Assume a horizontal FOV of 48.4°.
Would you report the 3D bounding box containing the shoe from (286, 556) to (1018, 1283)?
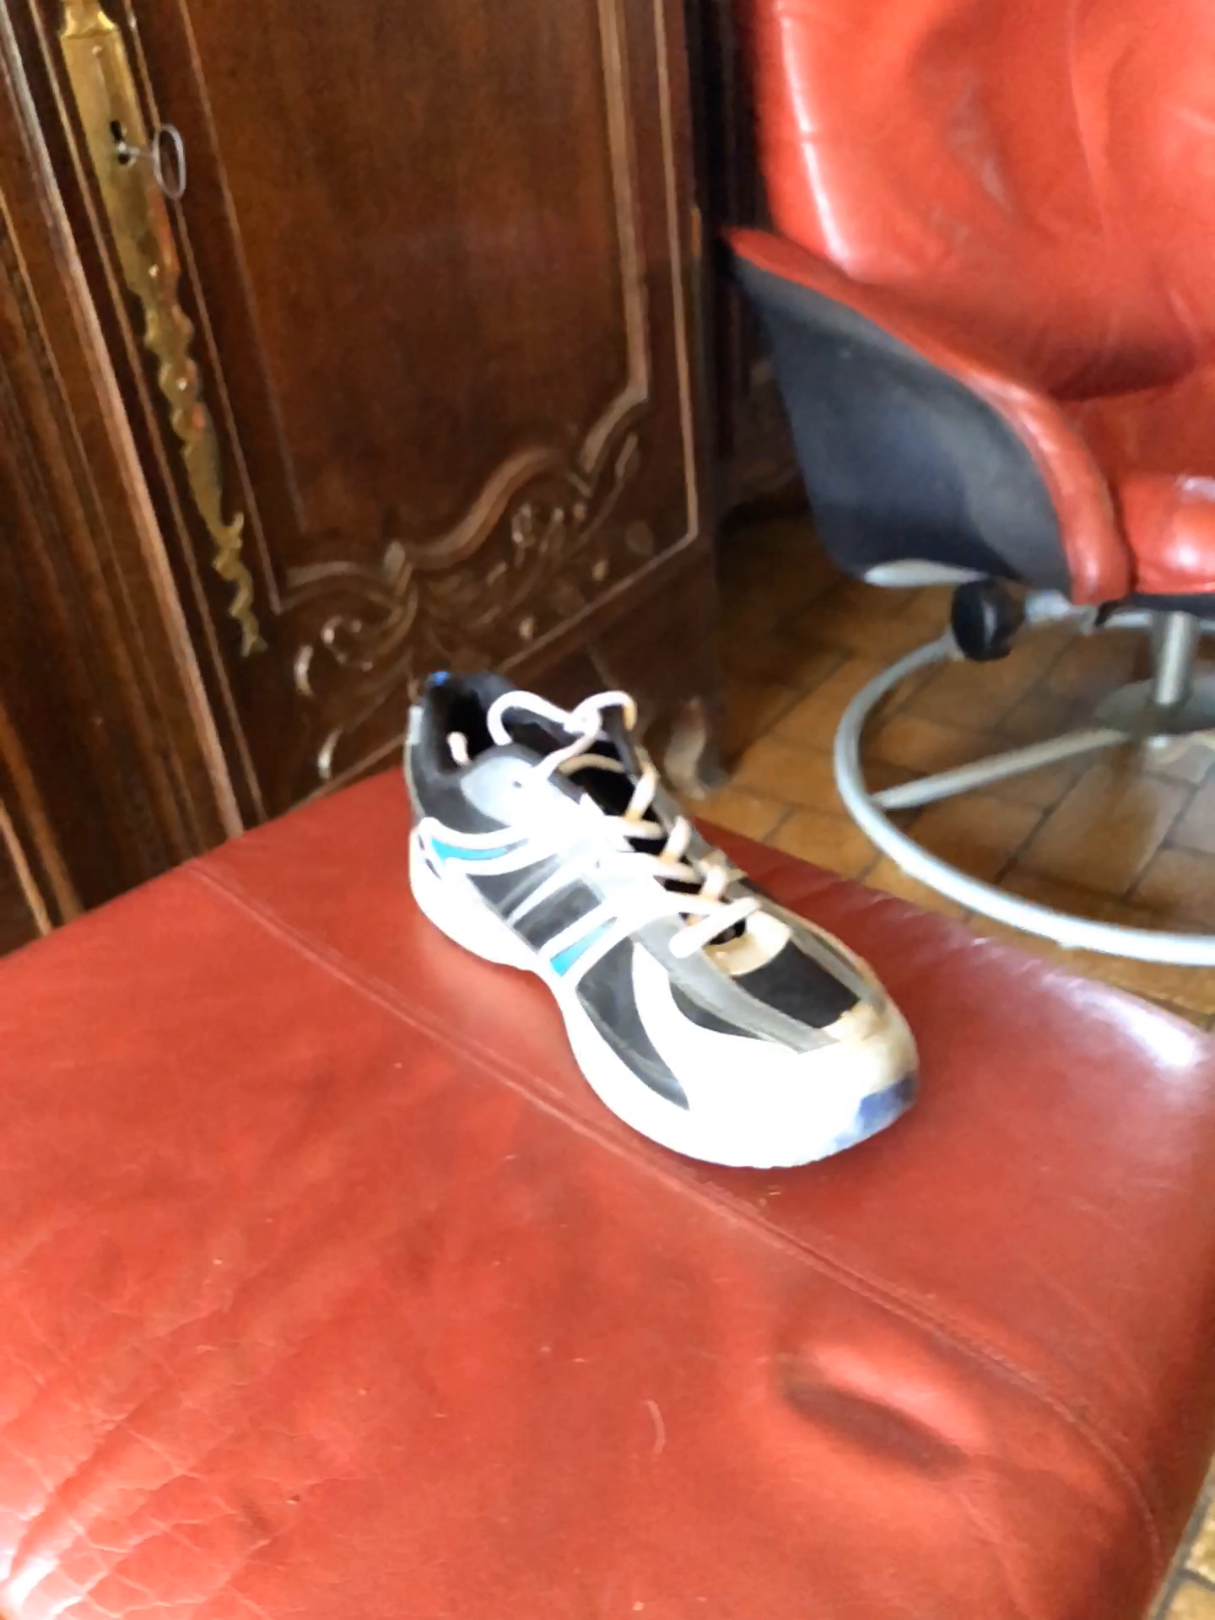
[{"bbox_3d":[0.002,0.017,0.484,0.110,0.119,0.260,-25,38,-27],"label":"shoe"}]
